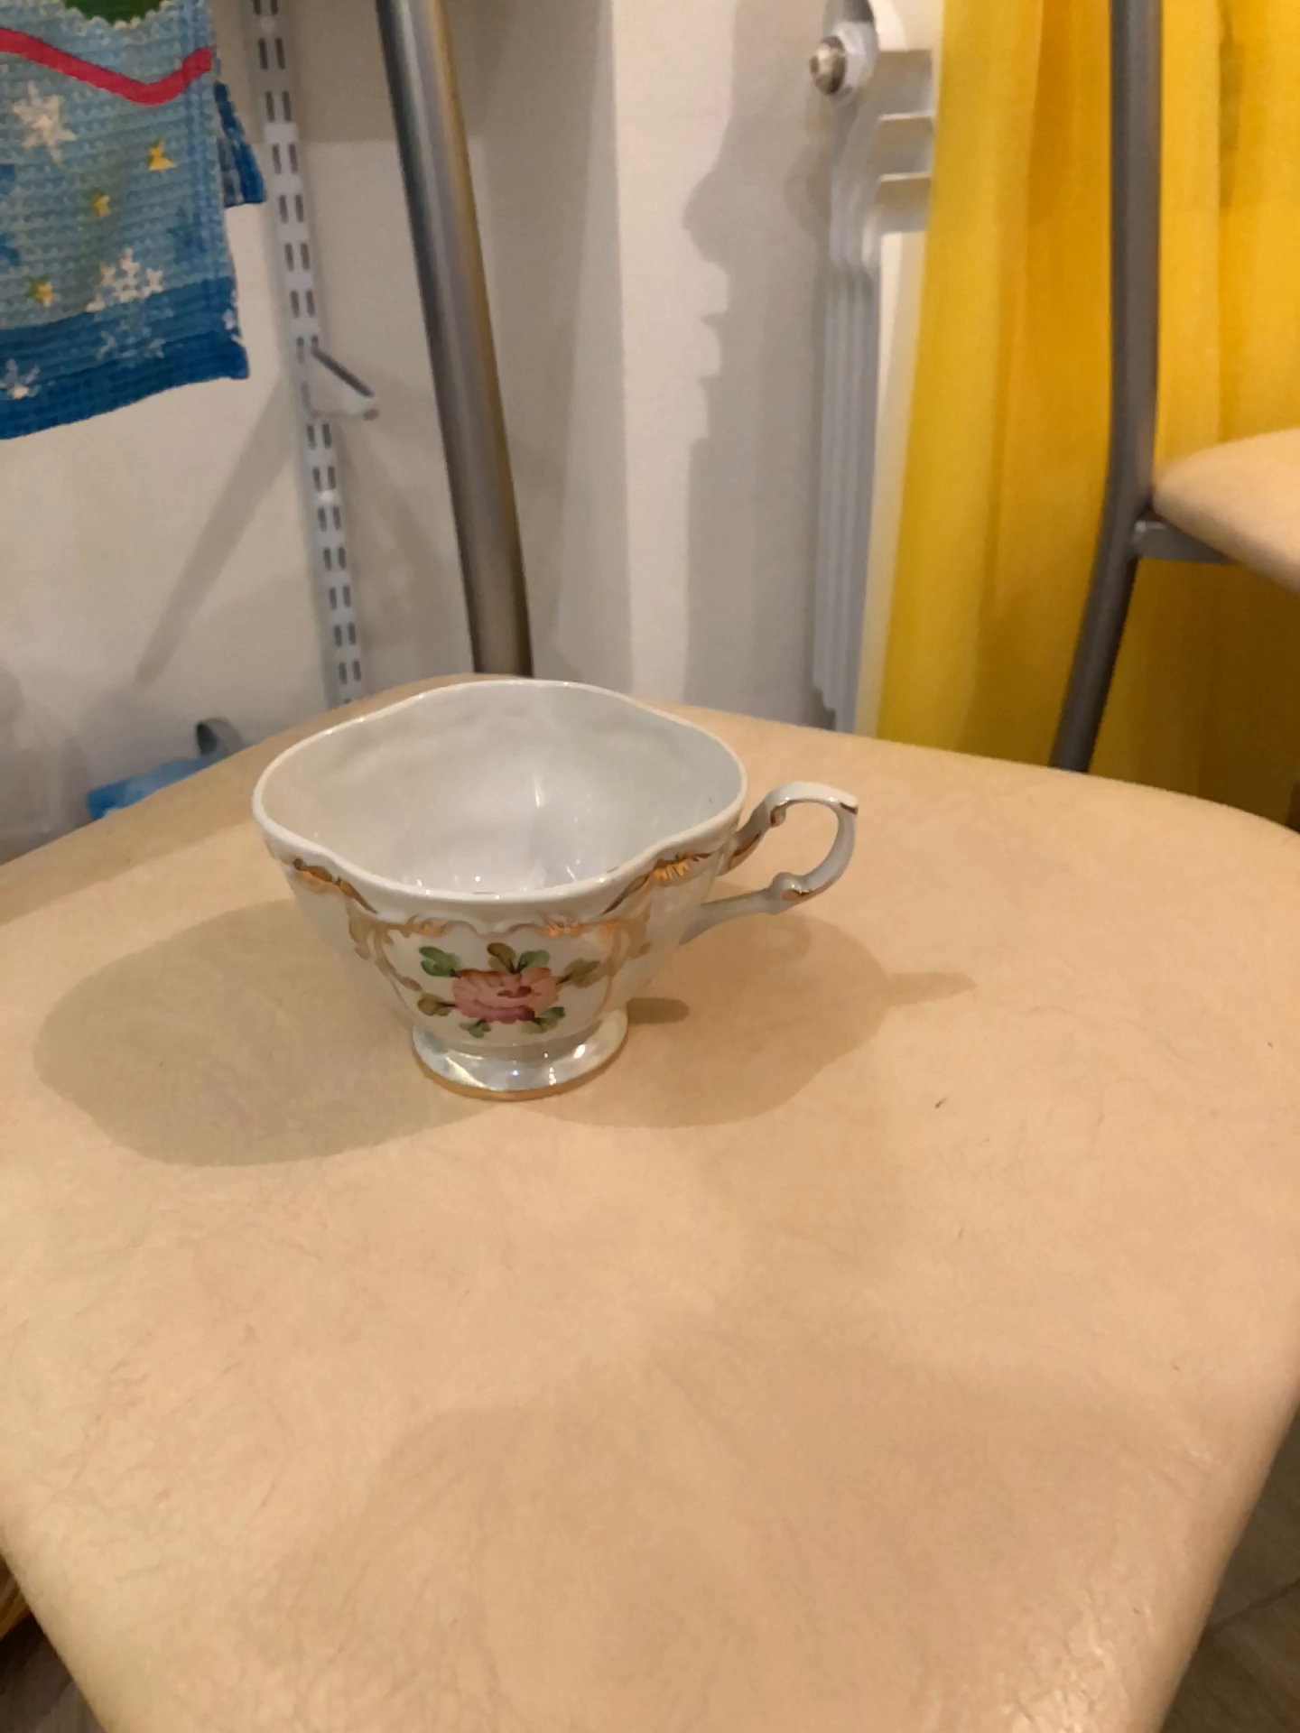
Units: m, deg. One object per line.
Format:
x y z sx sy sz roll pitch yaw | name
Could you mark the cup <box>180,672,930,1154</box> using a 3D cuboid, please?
-0.016 0.006 0.325 0.139 0.064 0.101 0 31 1 | cup
